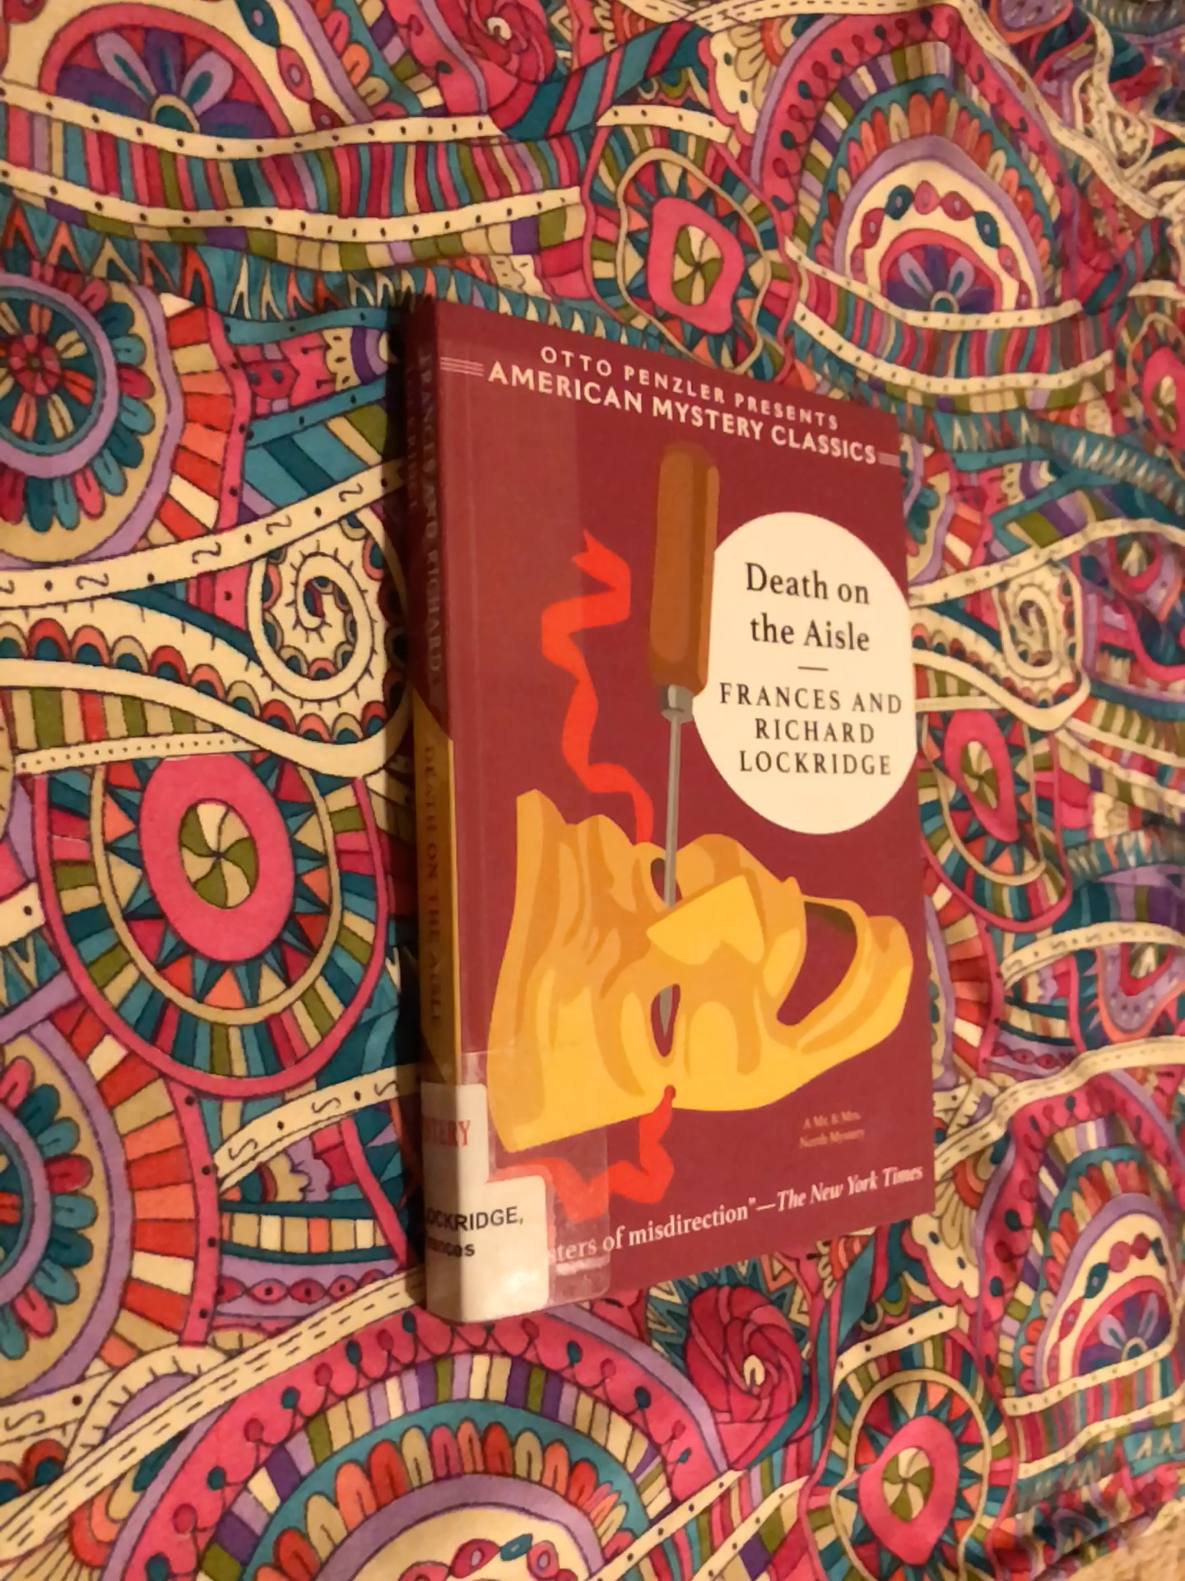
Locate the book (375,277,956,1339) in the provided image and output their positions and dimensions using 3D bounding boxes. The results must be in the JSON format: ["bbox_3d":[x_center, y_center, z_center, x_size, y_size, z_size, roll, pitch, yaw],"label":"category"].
[{"bbox_3d":[0.022,0.003,0.293,0.138,0.024,0.196,1,86,-36],"label":"book"}]
